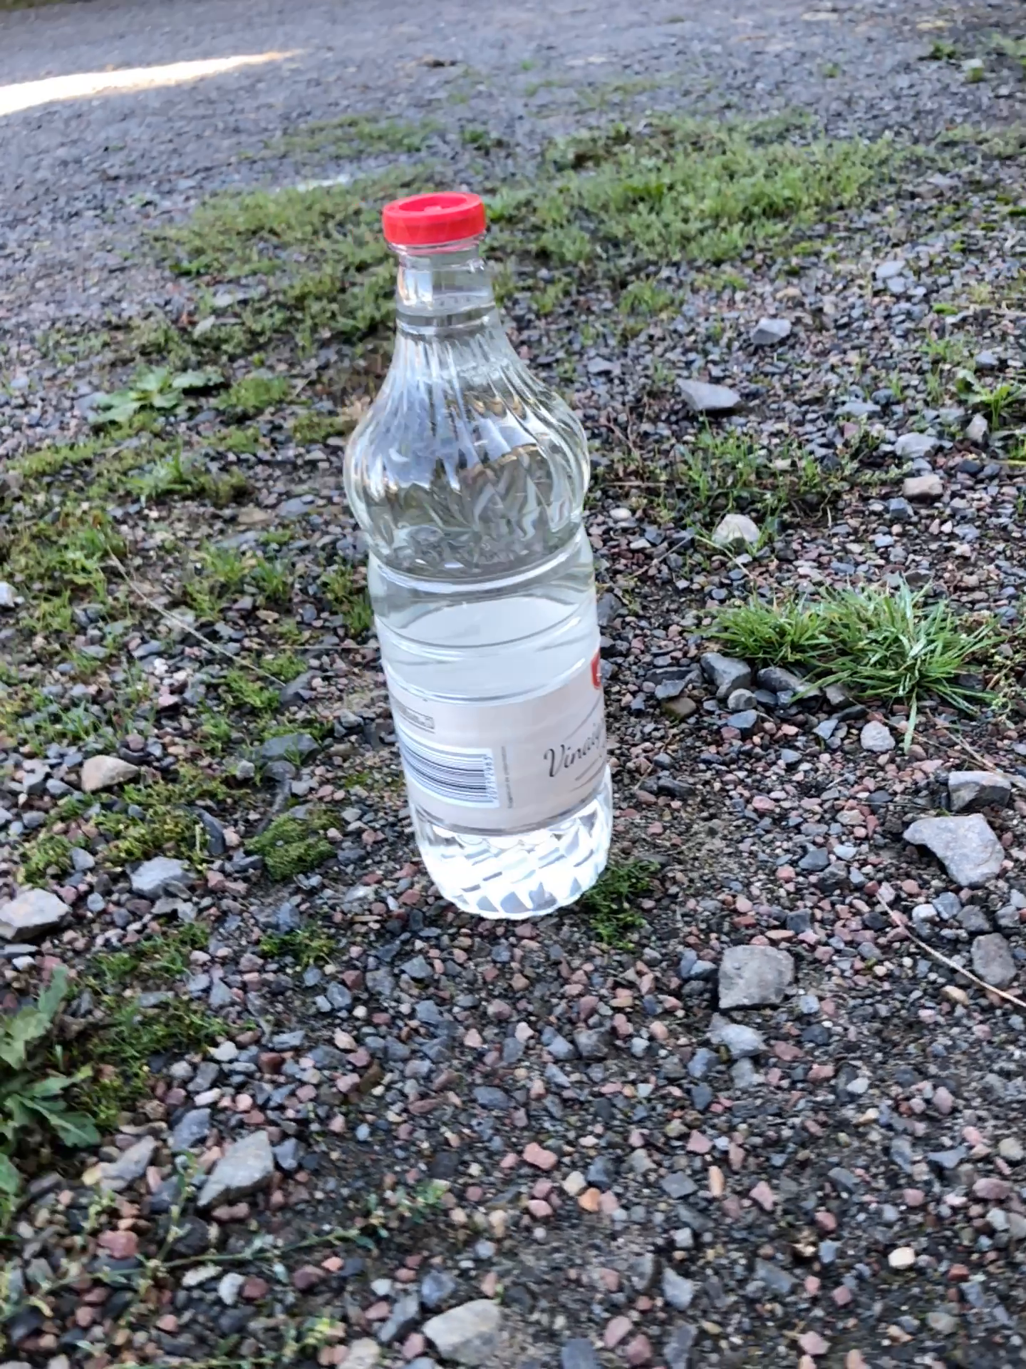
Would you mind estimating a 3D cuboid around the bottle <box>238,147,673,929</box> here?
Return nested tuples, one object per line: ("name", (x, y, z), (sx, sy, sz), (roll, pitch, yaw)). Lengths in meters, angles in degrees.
("bottle", (-0.002, -0.043, 0.402), (0.100, 0.249, 0.101), (-5, 32, 3))
